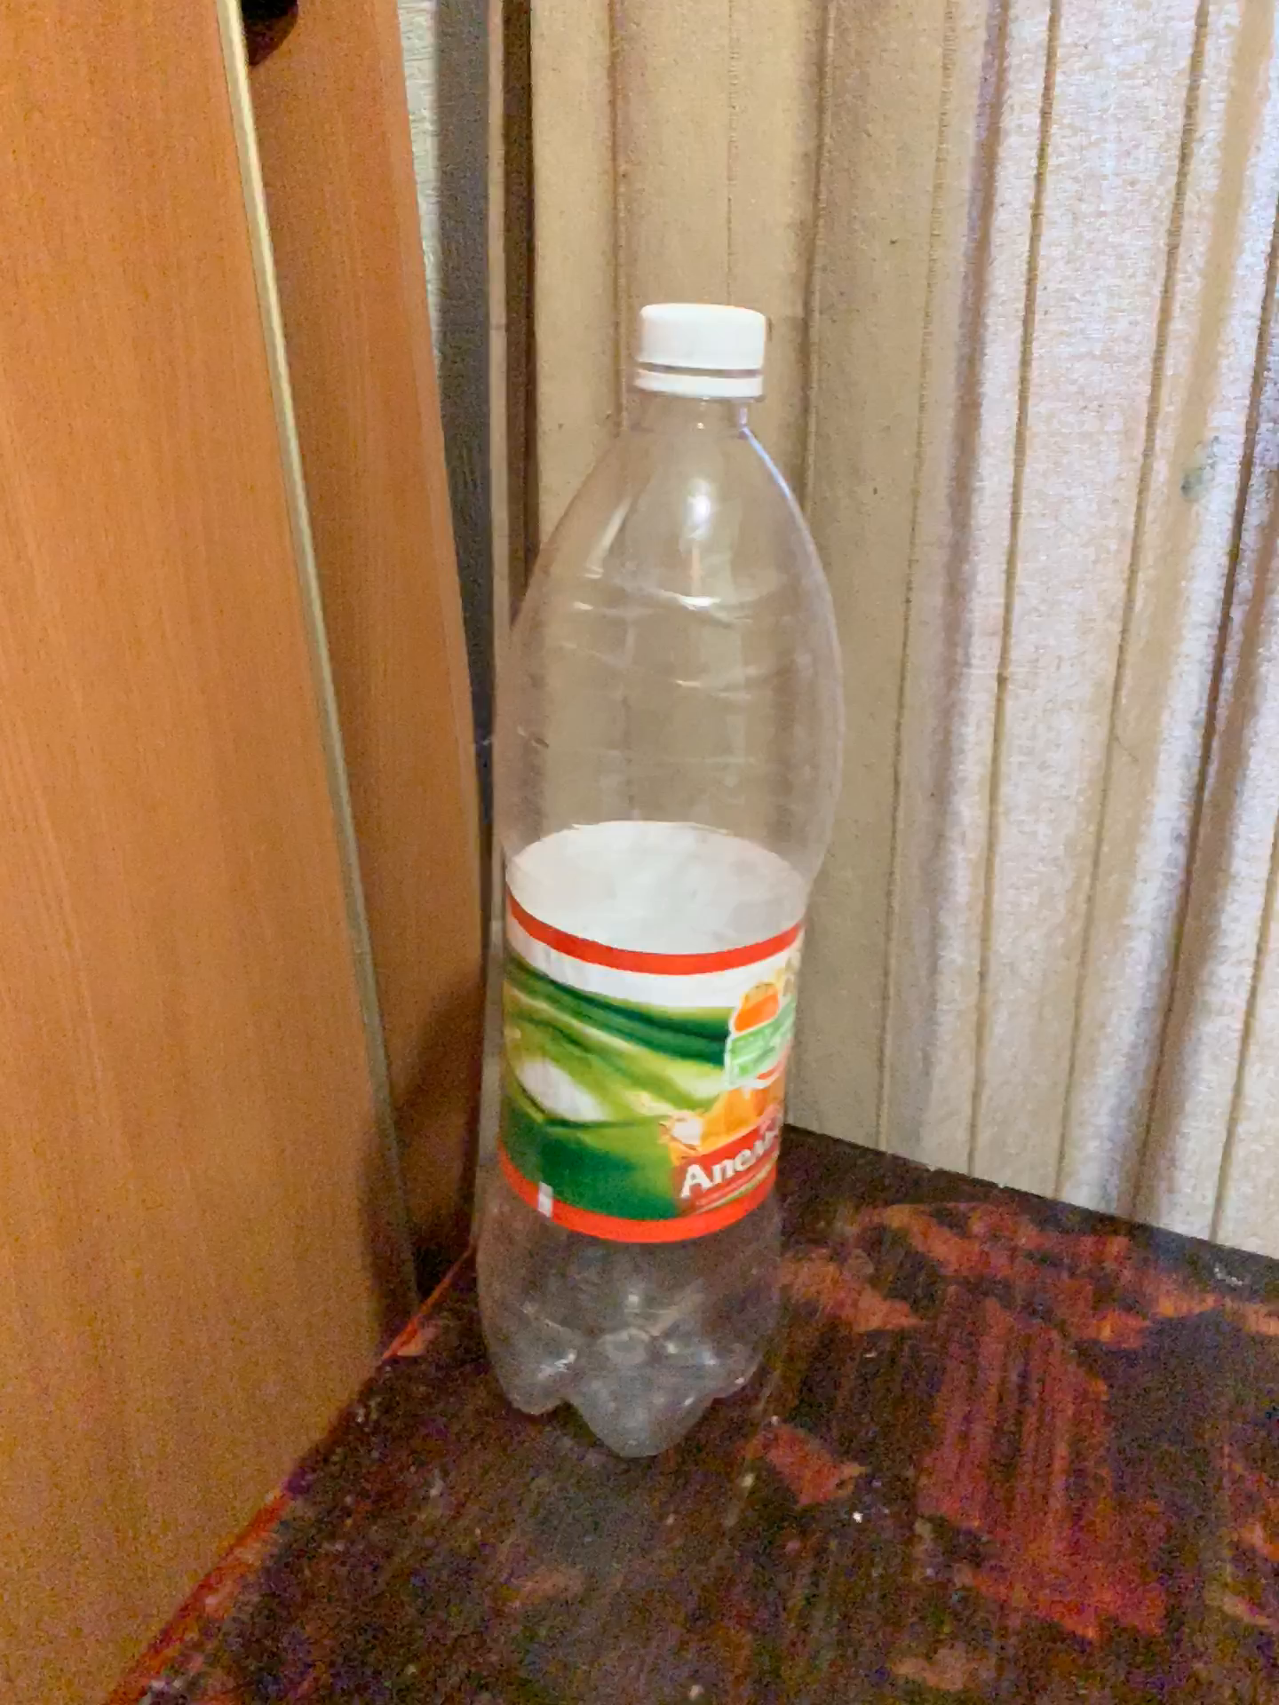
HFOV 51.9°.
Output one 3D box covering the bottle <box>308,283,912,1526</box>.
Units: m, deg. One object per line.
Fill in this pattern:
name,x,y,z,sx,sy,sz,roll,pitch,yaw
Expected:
bottle,-0.007,0.014,0.370,0.100,0.317,0.101,1,24,0
